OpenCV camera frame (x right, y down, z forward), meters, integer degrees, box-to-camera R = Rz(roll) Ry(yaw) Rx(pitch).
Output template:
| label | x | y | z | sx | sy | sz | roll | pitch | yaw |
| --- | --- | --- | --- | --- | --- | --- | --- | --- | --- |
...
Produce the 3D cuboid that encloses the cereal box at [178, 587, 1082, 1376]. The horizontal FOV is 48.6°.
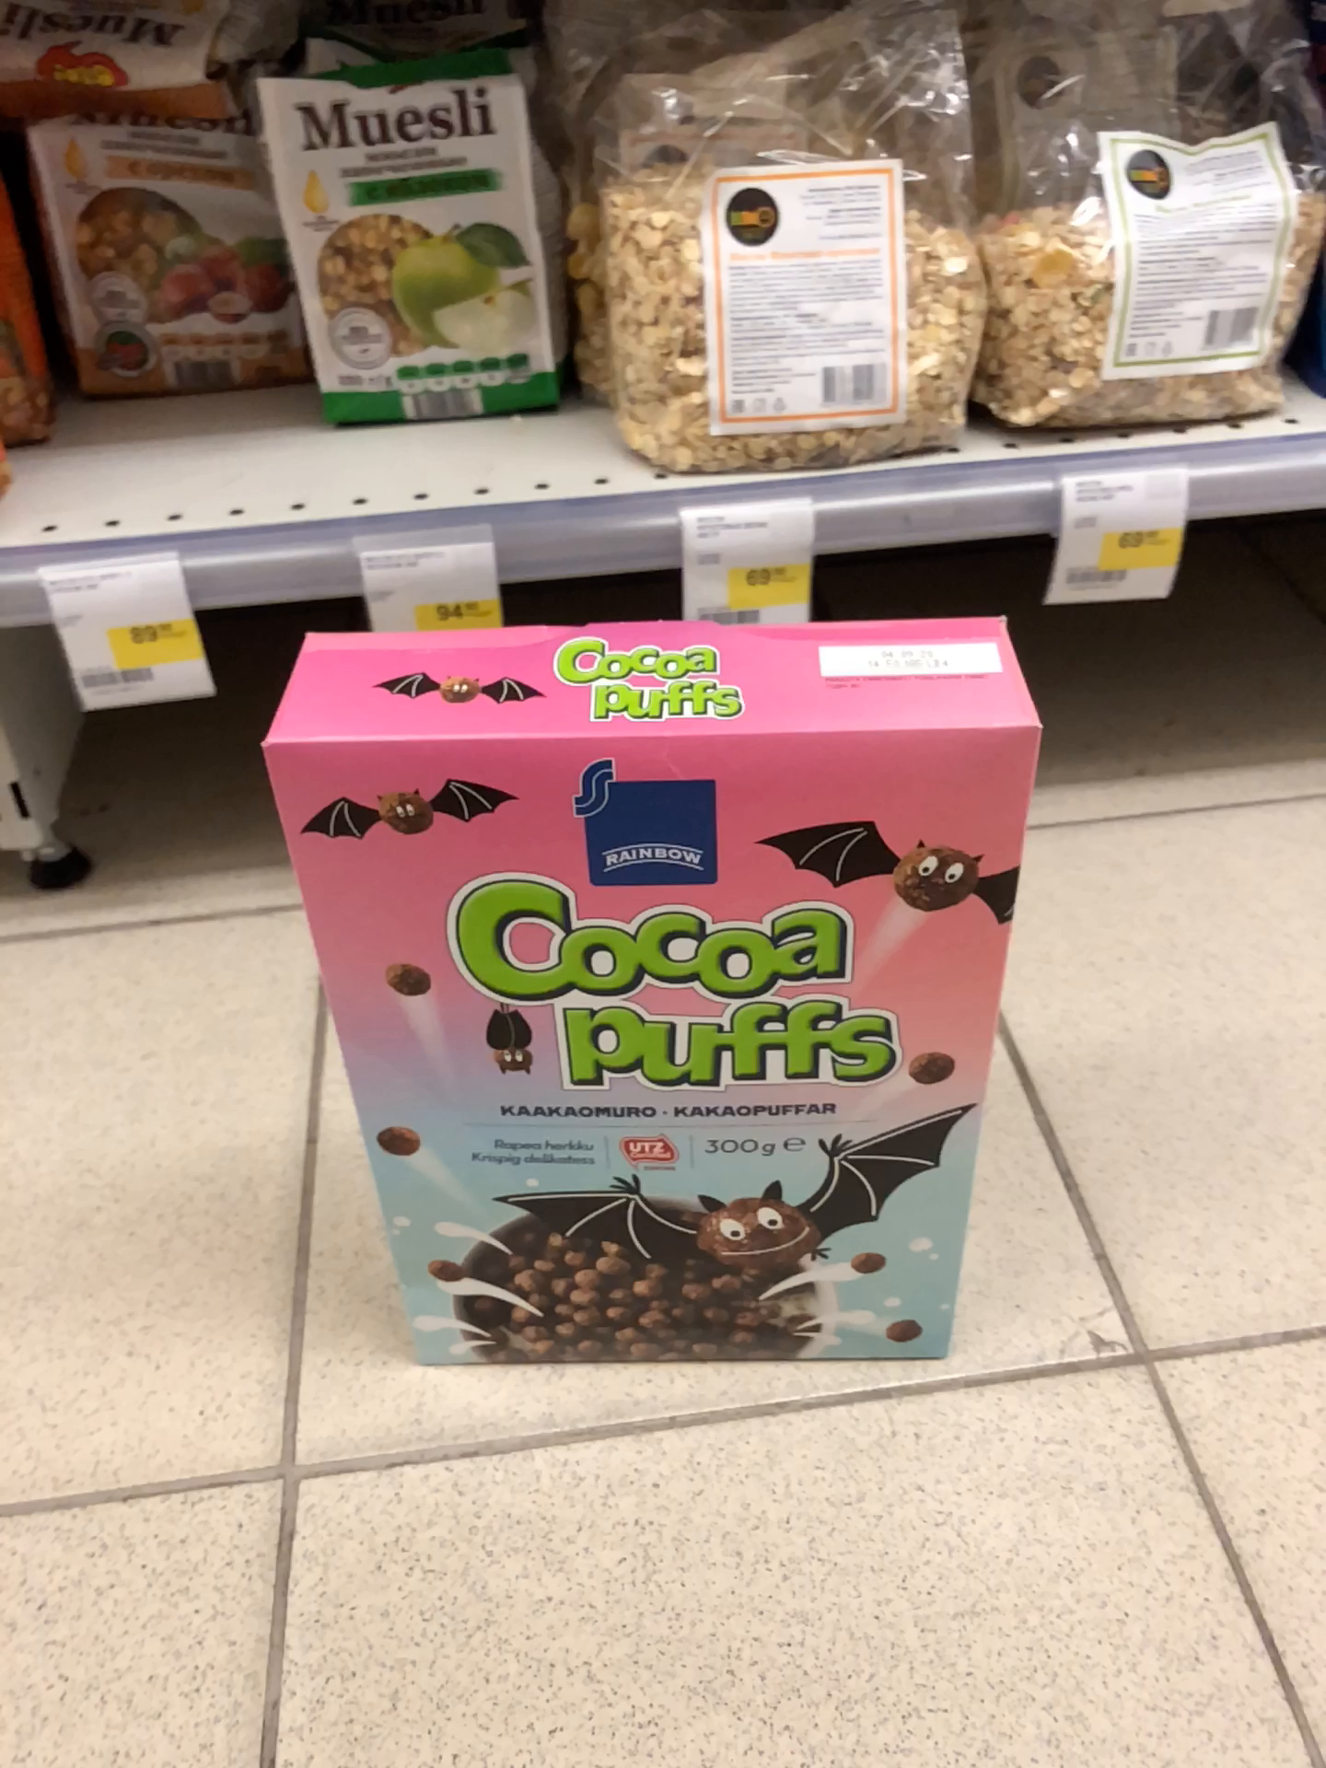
| label | x | y | z | sx | sy | sz | roll | pitch | yaw |
| --- | --- | --- | --- | --- | --- | --- | --- | --- | --- |
| cereal box | -0.003 | 0.047 | 0.449 | 0.210 | 0.268 | 0.060 | -1 | 39 | 2 |
